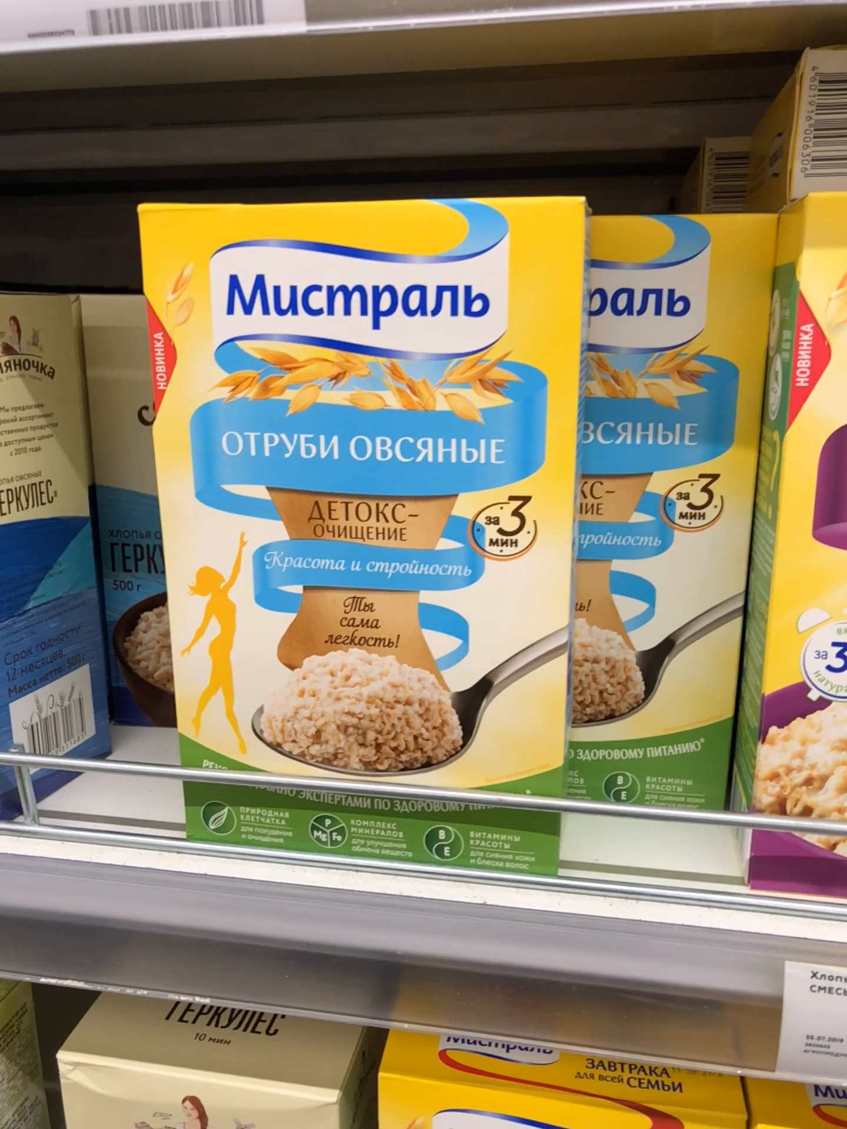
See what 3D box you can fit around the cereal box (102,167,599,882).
[{"bbox_3d":[-0.018,-0.011,0.307,0.140,0.209,0.050,2,15,12],"label":"cereal box"}]
